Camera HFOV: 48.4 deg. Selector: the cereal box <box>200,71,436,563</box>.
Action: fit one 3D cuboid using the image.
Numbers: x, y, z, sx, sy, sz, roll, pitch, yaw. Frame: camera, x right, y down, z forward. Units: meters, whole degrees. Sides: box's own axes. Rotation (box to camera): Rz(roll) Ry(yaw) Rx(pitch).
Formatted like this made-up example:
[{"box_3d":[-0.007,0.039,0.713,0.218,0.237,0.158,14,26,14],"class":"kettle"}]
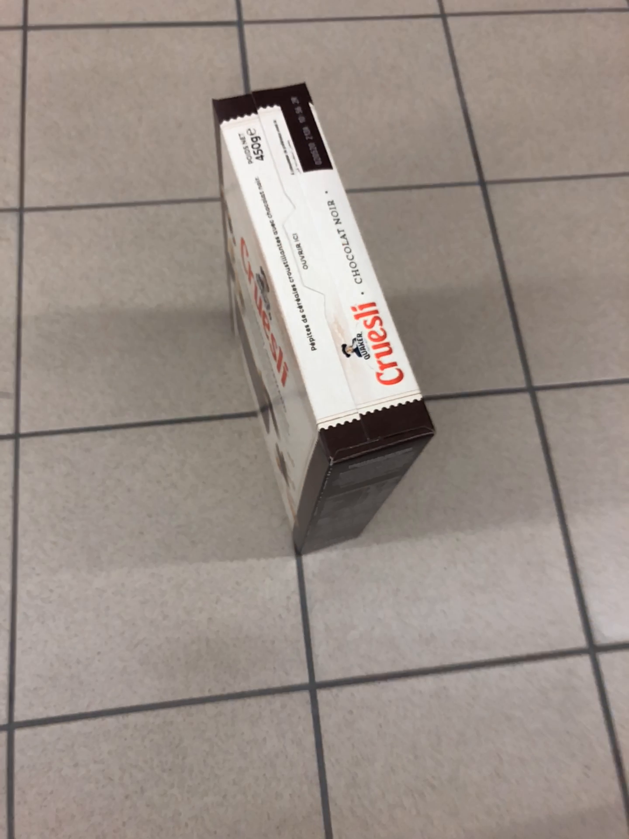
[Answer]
[{"box_3d":[-0.012,-0.035,0.422,0.050,0.239,0.200,-14,72,-9],"class":"cereal box"}]
